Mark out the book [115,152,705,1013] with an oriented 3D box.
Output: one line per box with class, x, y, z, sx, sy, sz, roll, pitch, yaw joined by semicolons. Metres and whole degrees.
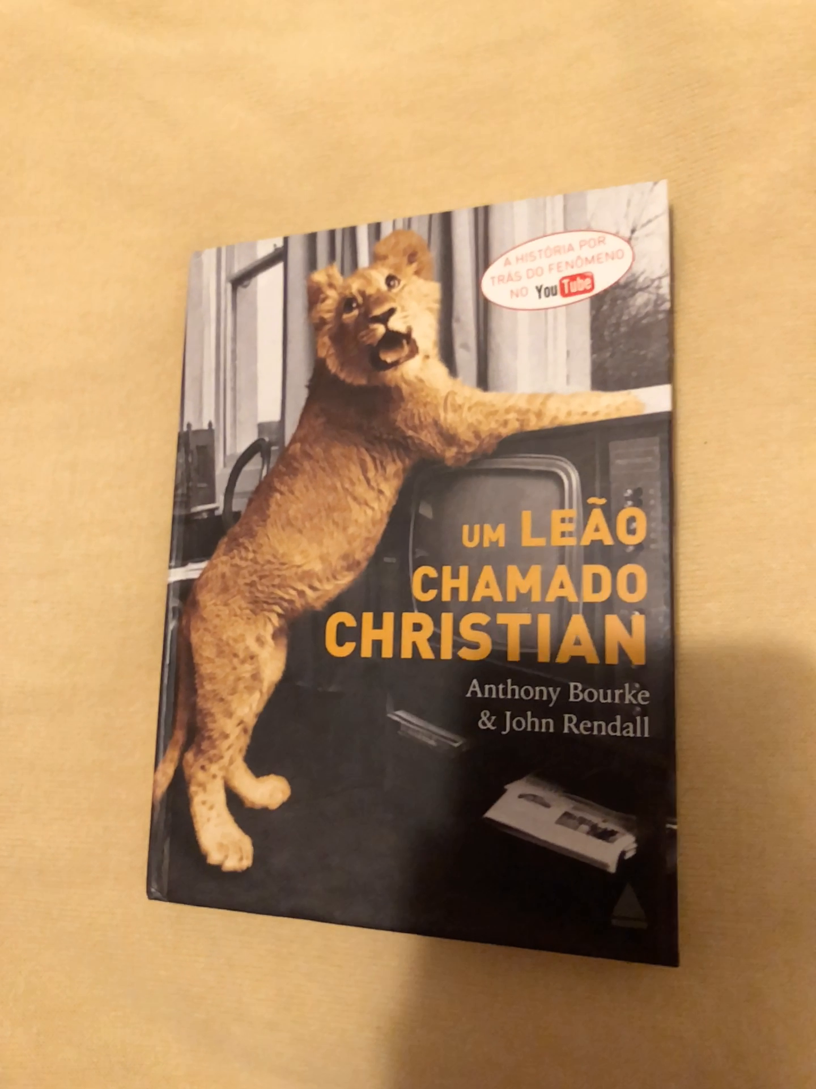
book;0.000;0.005;0.251;0.150;0.030;0.200;-2;78;22
